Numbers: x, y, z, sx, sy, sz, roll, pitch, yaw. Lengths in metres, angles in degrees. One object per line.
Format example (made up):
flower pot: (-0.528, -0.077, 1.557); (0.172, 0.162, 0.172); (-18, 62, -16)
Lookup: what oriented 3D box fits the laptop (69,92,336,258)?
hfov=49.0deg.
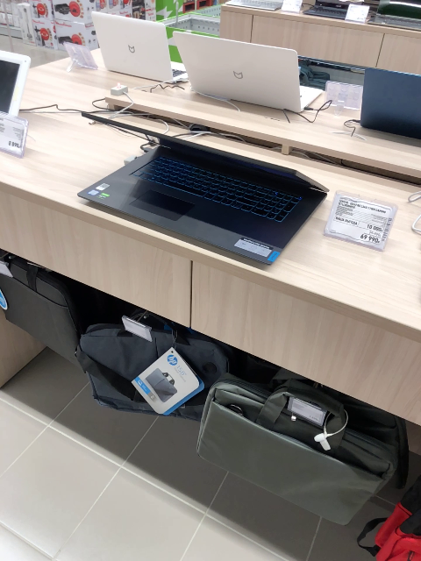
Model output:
laptop: (-0.012, -0.221, 0.867); (0.390, 0.129, 0.272); (21, 42, 23)
